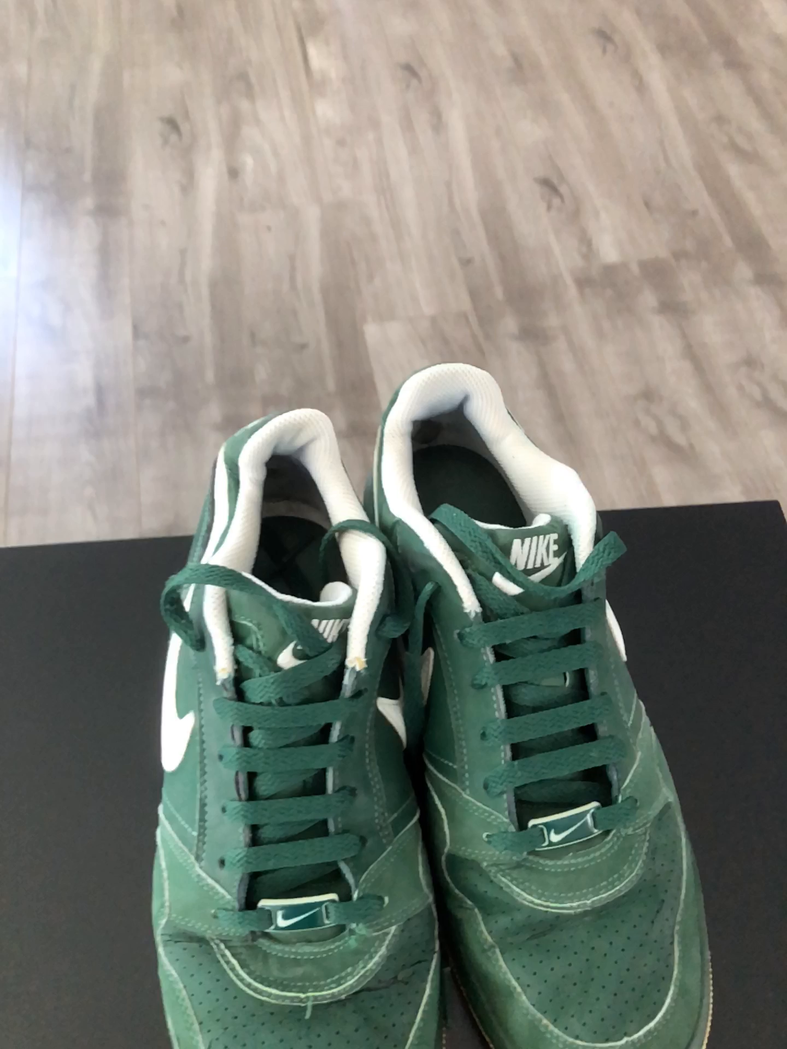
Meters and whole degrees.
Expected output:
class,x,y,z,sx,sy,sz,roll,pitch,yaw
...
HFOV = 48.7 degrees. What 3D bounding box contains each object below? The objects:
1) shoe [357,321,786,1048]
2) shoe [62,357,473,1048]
class,x,y,z,sx,sy,sz,roll,pitch,yaw
shoe,0.057,0.069,0.330,0.110,0.100,0.281,-6,62,-5
shoe,-0.045,0.087,0.326,0.100,0.100,0.292,-4,62,-4
